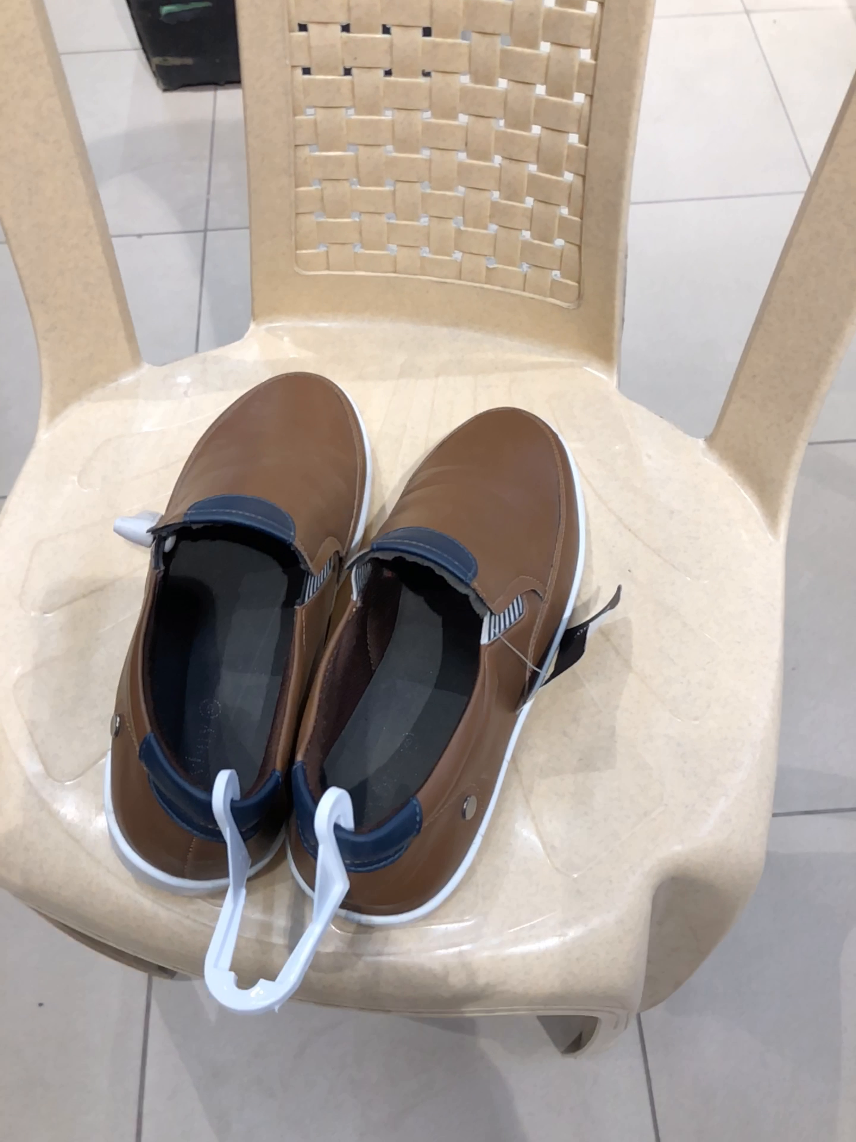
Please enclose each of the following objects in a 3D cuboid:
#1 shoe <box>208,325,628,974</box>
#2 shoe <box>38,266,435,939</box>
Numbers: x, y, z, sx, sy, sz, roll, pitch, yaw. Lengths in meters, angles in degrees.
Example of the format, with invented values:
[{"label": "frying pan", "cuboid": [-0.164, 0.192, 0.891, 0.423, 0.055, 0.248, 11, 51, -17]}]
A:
[{"label": "shoe", "cuboid": [0.015, 0.021, 0.436, 0.104, 0.099, 0.271, 10, 58, 15]}, {"label": "shoe", "cuboid": [-0.076, 0.007, 0.427, 0.104, 0.099, 0.271, 17, 55, -17]}]
